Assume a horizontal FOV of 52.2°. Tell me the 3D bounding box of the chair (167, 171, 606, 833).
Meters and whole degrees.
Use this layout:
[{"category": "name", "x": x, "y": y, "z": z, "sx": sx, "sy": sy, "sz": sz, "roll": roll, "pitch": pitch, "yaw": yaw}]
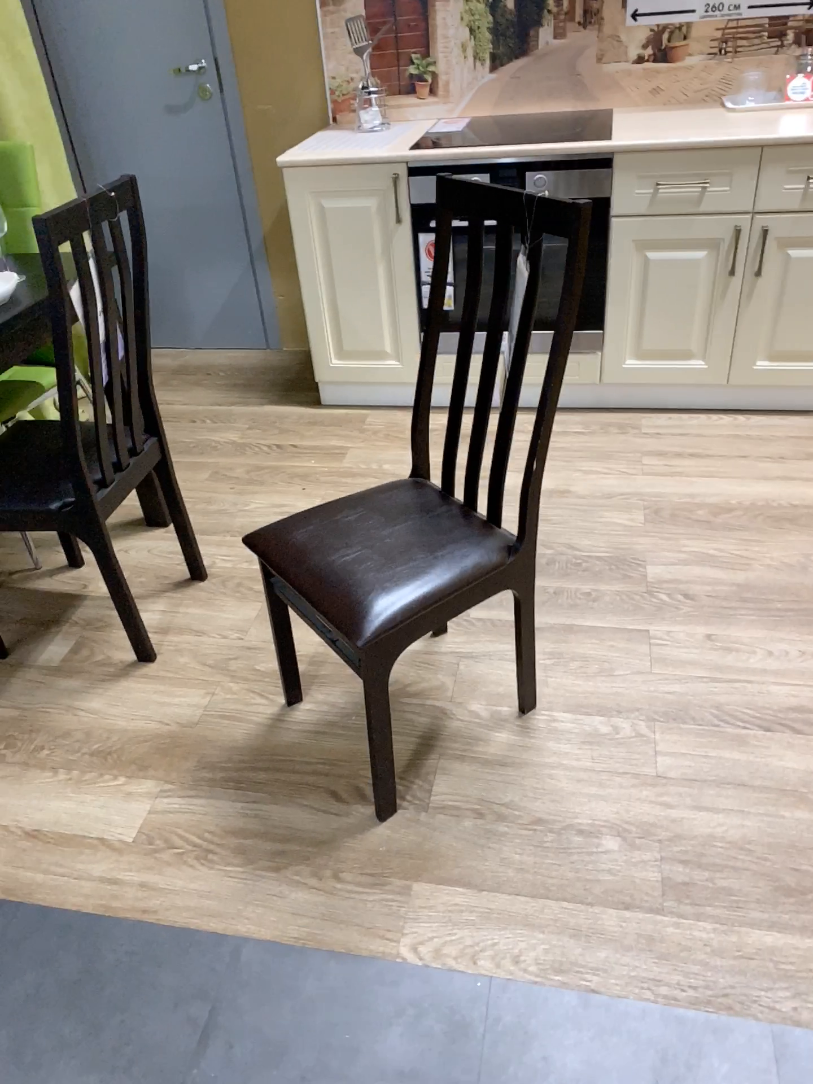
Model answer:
[{"category": "chair", "x": 0.000, "y": -0.064, "z": 1.480, "sx": 0.491, "sy": 0.985, "sz": 0.422, "roll": -25, "pitch": 39, "yaw": -26}]
